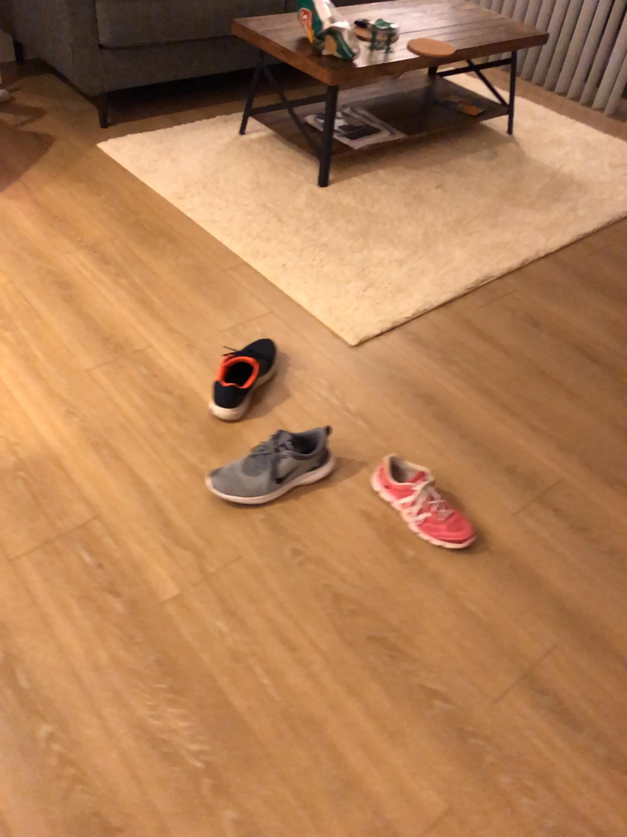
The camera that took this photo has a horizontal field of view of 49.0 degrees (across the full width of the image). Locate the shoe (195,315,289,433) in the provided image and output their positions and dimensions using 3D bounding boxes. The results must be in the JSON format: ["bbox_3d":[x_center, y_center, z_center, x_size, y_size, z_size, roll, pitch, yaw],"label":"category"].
[{"bbox_3d":[-0.178,-0.122,1.769,0.130,0.099,0.322,15,44,8],"label":"shoe"}]

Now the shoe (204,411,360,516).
[{"bbox_3d":[-0.071,0.095,1.542,0.321,0.080,0.130,-16,49,-23],"label":"shoe"}]

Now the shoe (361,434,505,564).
[{"bbox_3d":[0.260,0.172,1.530,0.280,0.089,0.131,36,50,26],"label":"shoe"}]
